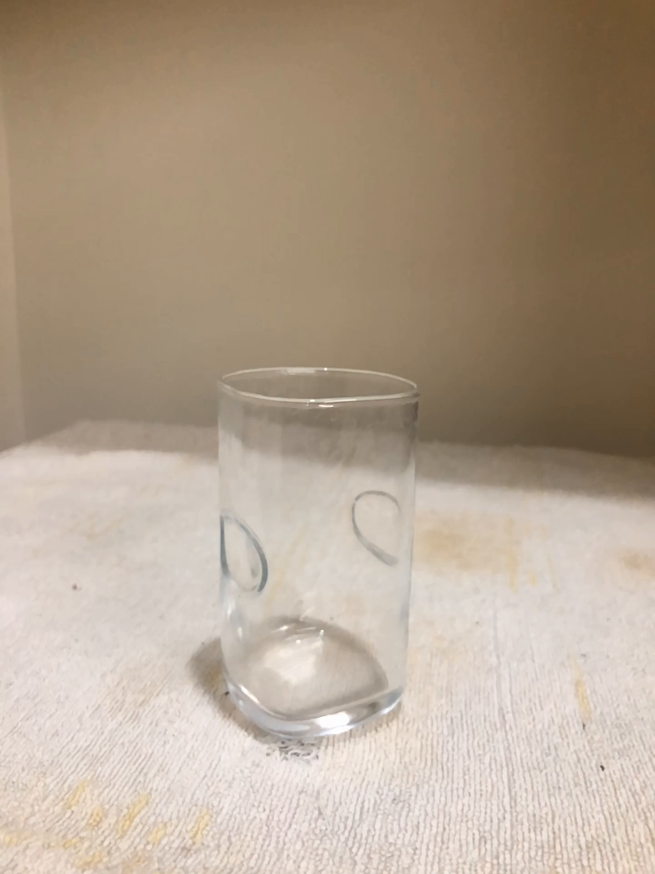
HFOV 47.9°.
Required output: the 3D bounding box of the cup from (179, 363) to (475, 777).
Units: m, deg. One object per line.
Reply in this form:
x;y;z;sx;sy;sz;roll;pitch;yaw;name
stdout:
-0.004;0.035;0.249;0.070;0.110;0.070;1;12;0;cup
